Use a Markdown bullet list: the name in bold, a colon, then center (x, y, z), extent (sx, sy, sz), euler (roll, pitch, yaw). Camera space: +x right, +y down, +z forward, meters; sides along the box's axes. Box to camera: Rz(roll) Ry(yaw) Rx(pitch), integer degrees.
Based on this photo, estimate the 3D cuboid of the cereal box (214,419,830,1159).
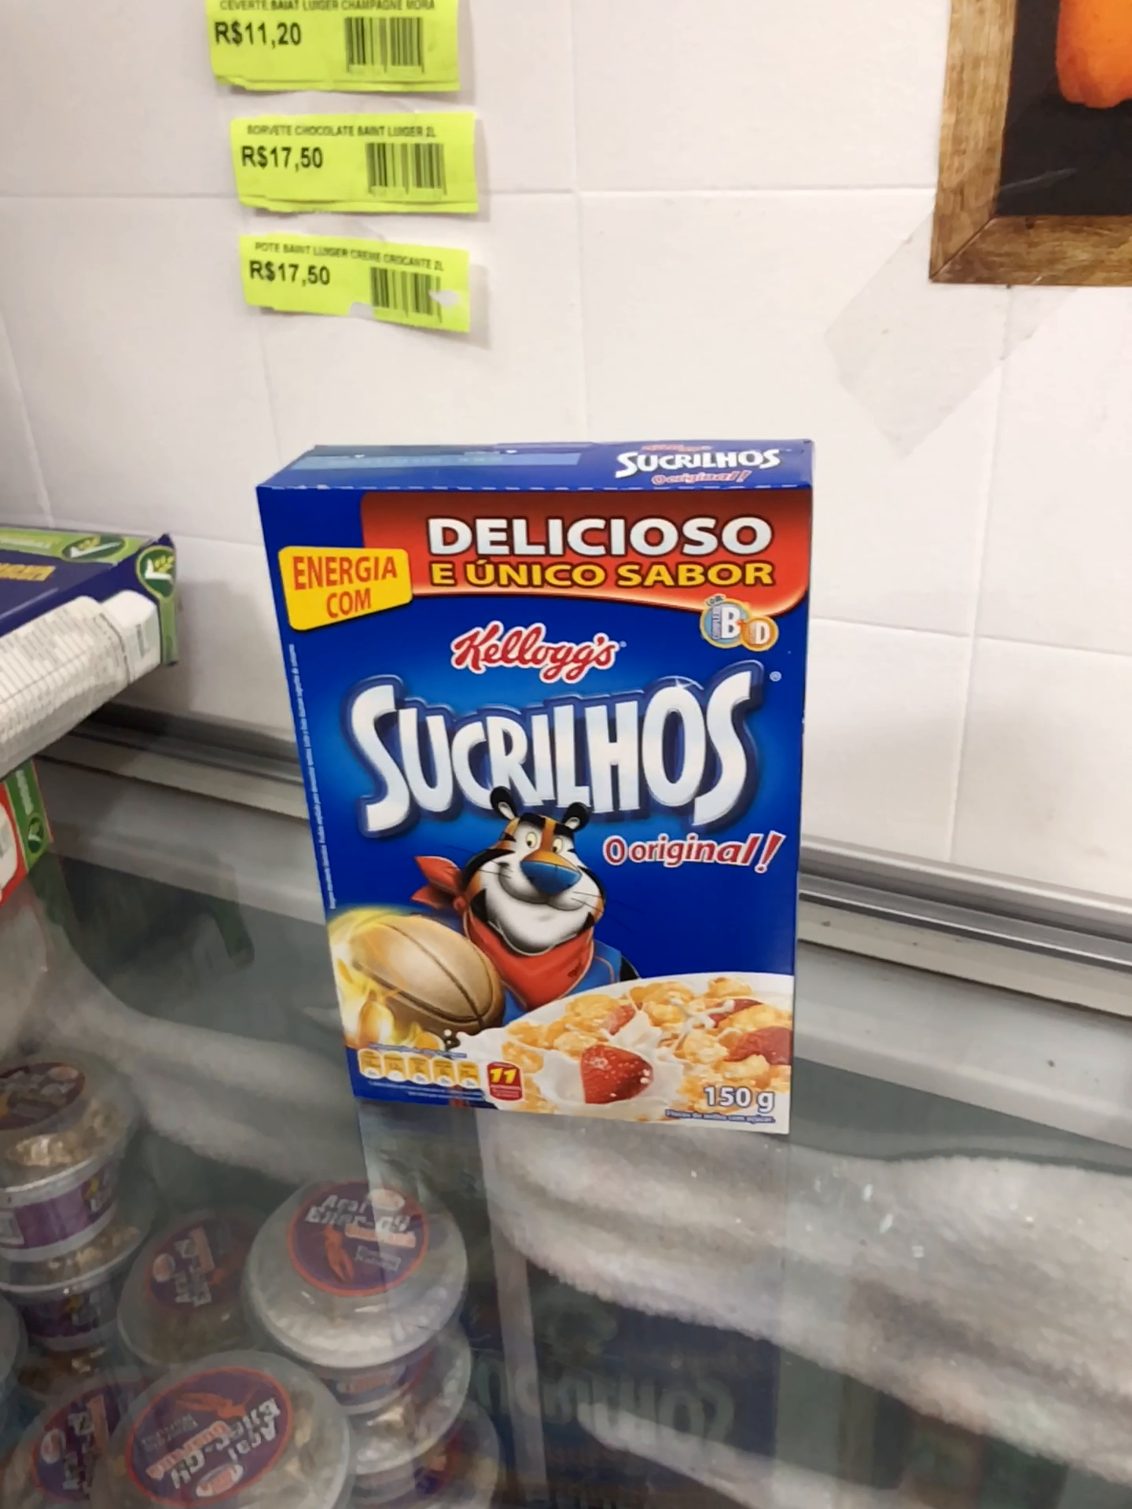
- **cereal box**: center (-0.005, 0.014, 0.348), extent (0.140, 0.199, 0.050), euler (2, 28, 9)
